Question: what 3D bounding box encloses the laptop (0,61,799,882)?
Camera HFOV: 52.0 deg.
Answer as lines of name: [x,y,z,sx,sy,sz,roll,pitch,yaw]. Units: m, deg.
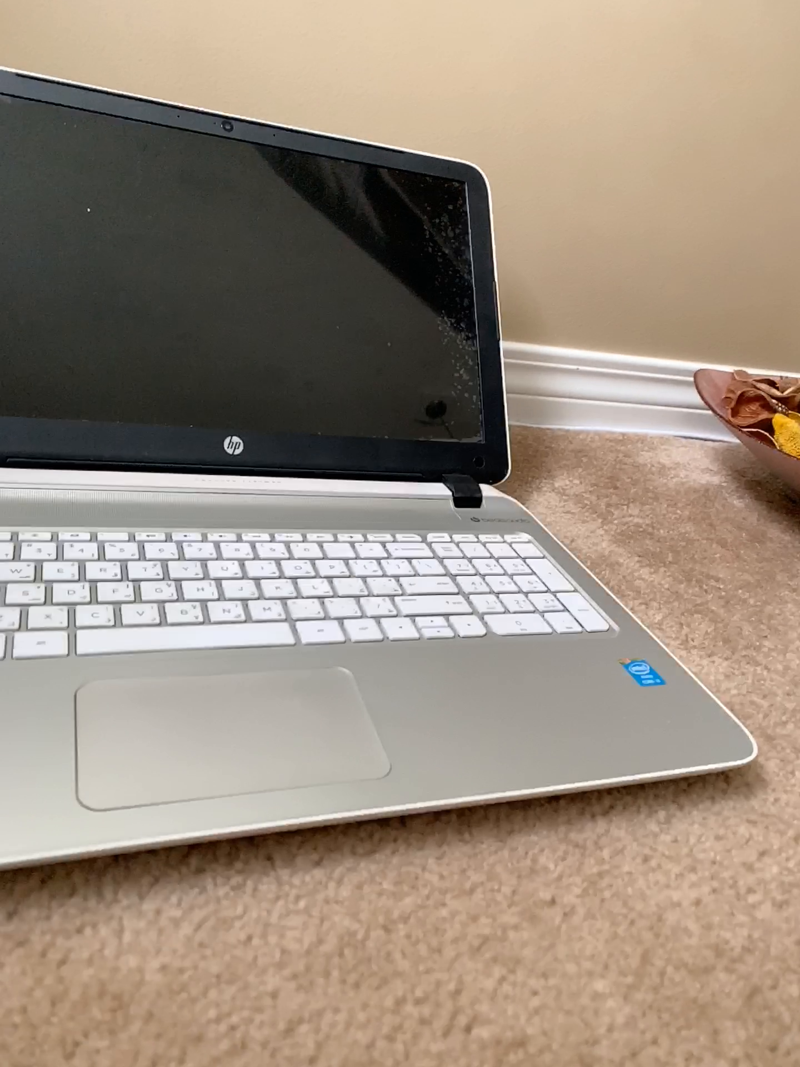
laptop: [-0.056,-0.074,0.383,0.349,0.187,0.351,0,29,-22]
